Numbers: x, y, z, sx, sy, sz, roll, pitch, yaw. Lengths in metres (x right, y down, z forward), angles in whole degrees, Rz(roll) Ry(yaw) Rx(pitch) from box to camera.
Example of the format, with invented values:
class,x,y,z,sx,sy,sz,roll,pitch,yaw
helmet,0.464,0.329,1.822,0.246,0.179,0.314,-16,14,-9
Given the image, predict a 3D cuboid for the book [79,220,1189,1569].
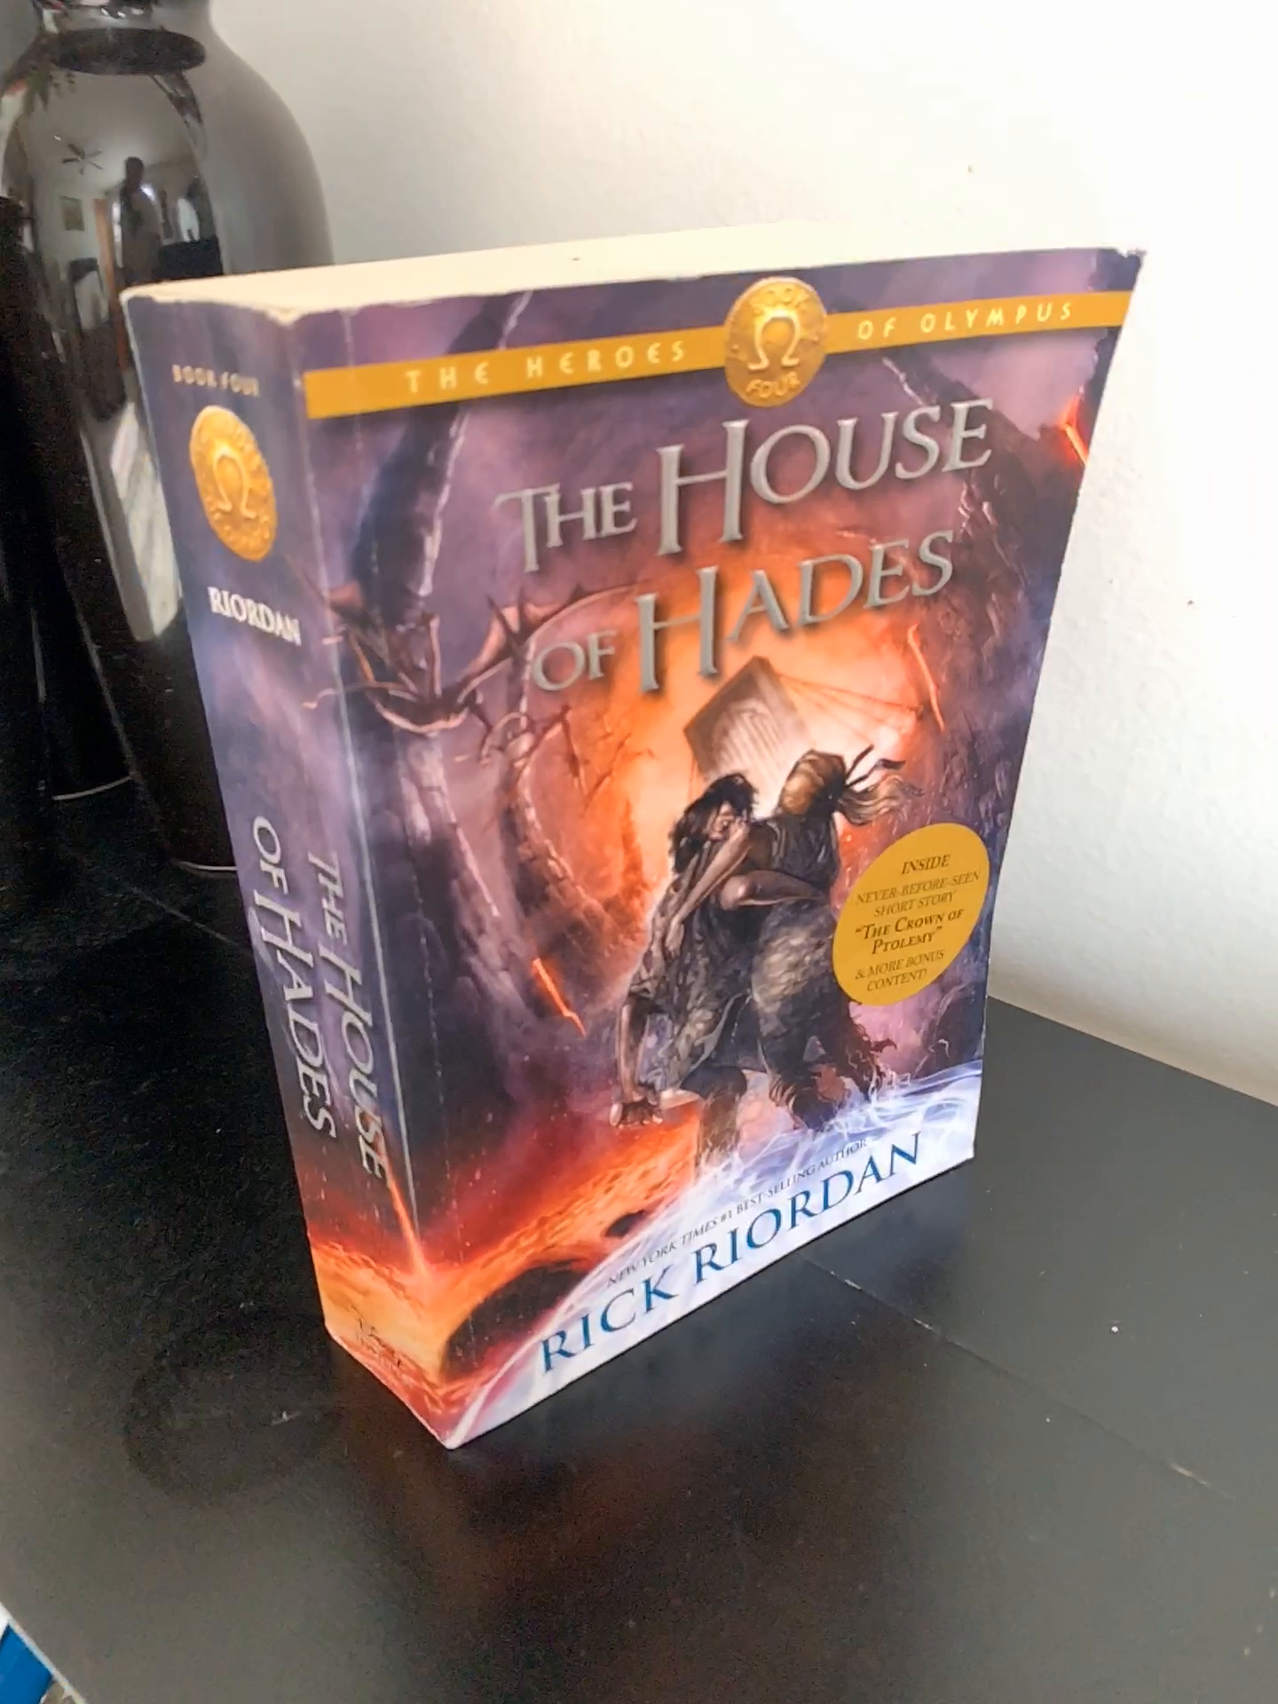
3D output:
class,x,y,z,sx,sy,sz,roll,pitch,yaw
book,0.008,-0.008,0.228,0.145,0.176,0.077,-25,36,-38
